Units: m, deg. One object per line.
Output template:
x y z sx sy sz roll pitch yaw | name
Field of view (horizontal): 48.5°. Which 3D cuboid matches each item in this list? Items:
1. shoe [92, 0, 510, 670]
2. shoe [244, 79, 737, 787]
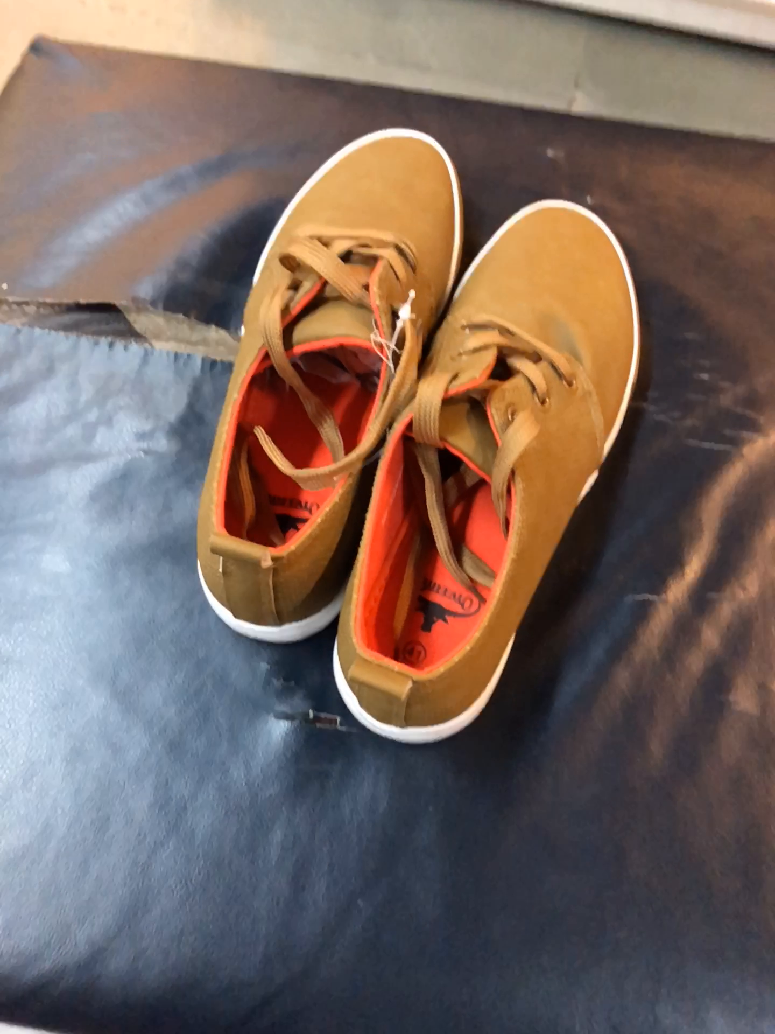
-0.021 -0.085 0.366 0.100 0.097 0.267 10 65 2 | shoe
0.049 -0.041 0.347 0.095 0.090 0.261 21 66 7 | shoe
